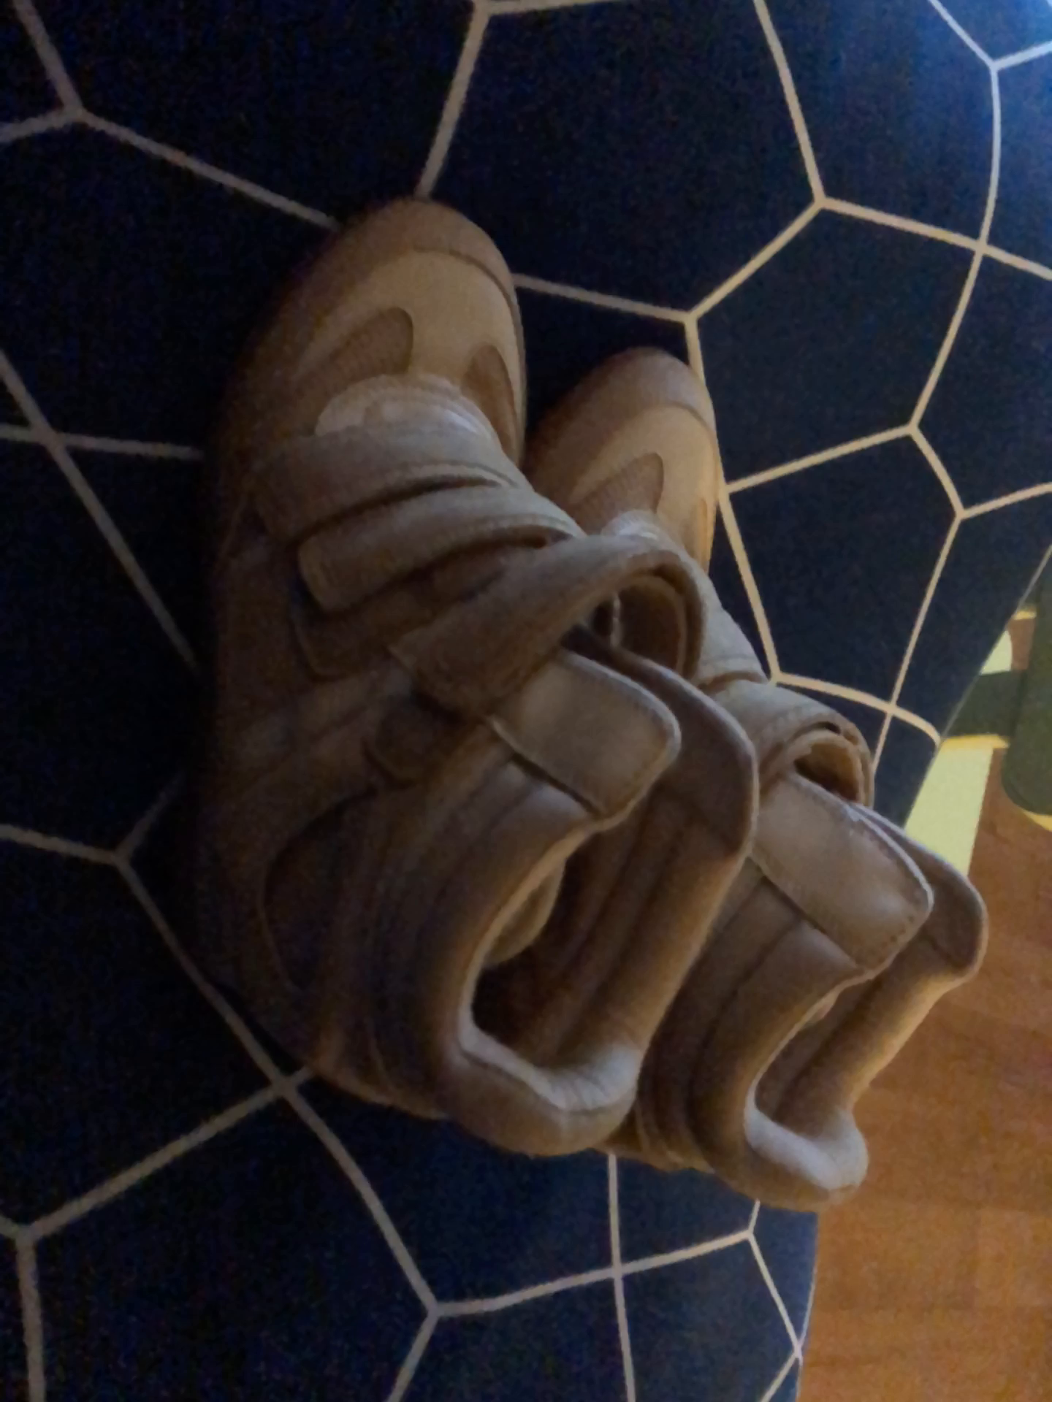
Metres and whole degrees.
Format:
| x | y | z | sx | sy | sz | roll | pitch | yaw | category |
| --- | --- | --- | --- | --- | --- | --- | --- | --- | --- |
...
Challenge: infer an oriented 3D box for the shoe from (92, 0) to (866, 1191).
| x | y | z | sx | sy | sz | roll | pitch | yaw | category |
| --- | --- | --- | --- | --- | --- | --- | --- | --- | --- |
| -0.009 | -0.033 | 0.293 | 0.100 | 0.139 | 0.260 | 17 | 74 | -40 | shoe |

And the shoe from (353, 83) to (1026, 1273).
| x | y | z | sx | sy | sz | roll | pitch | yaw | category |
| --- | --- | --- | --- | --- | --- | --- | --- | --- | --- |
| 0.053 | -0.004 | 0.338 | 0.100 | 0.129 | 0.280 | 21 | 71 | -39 | shoe |
